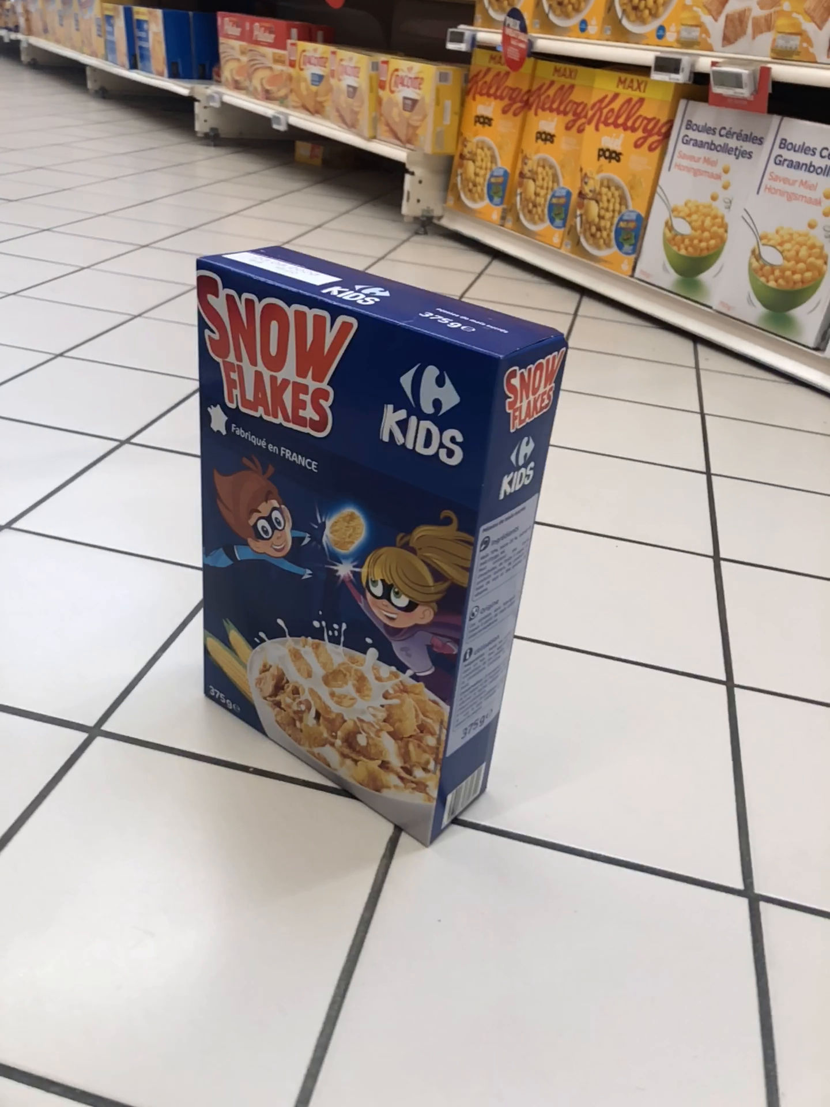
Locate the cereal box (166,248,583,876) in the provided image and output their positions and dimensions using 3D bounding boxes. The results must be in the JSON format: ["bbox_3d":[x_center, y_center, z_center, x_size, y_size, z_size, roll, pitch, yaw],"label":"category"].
[{"bbox_3d":[-0.038,0.001,0.512,0.200,0.288,0.080,25,34,31],"label":"cereal box"}]
